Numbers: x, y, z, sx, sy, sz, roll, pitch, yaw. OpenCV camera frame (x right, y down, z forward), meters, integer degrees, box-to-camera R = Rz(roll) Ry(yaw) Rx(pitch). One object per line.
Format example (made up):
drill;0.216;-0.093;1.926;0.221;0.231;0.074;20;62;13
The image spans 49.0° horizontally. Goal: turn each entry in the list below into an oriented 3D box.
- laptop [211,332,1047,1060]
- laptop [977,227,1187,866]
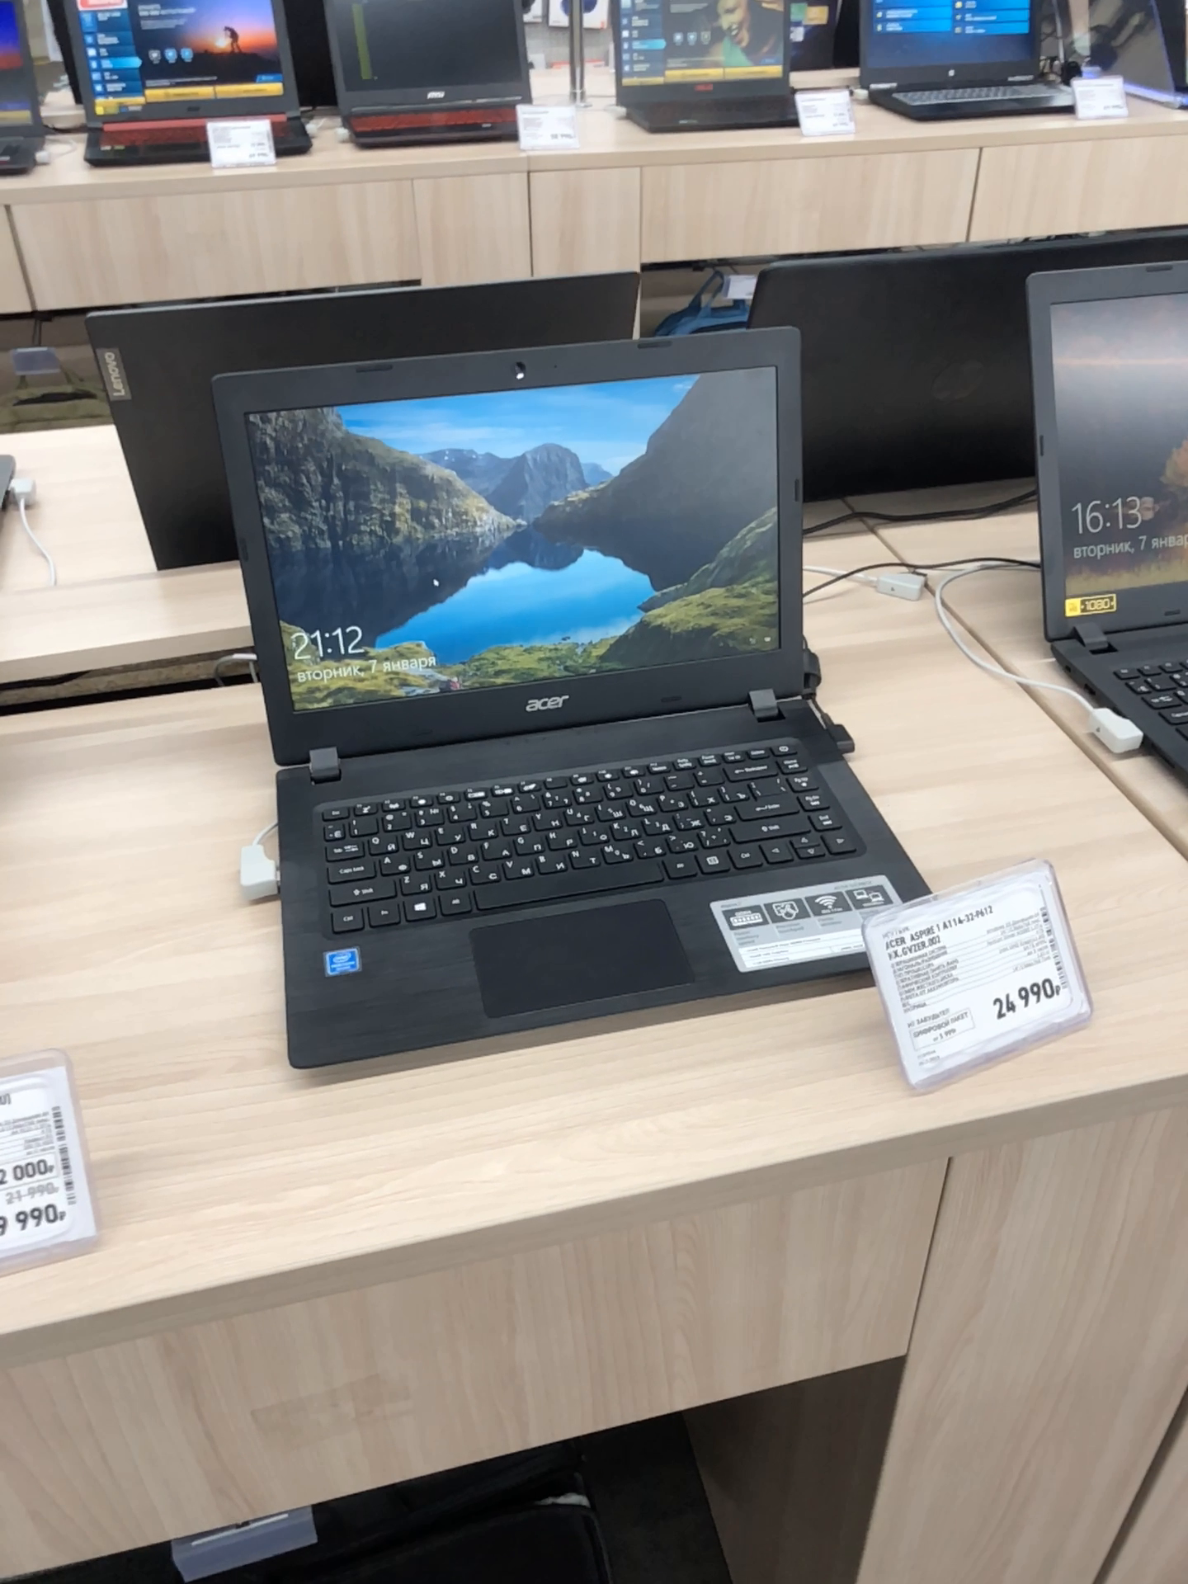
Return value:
laptop;-0.009;-0.075;0.701;0.342;0.223;0.303;-8;37;-10
laptop;0.524;-0.184;0.827;0.379;0.216;0.378;-9;37;-11
